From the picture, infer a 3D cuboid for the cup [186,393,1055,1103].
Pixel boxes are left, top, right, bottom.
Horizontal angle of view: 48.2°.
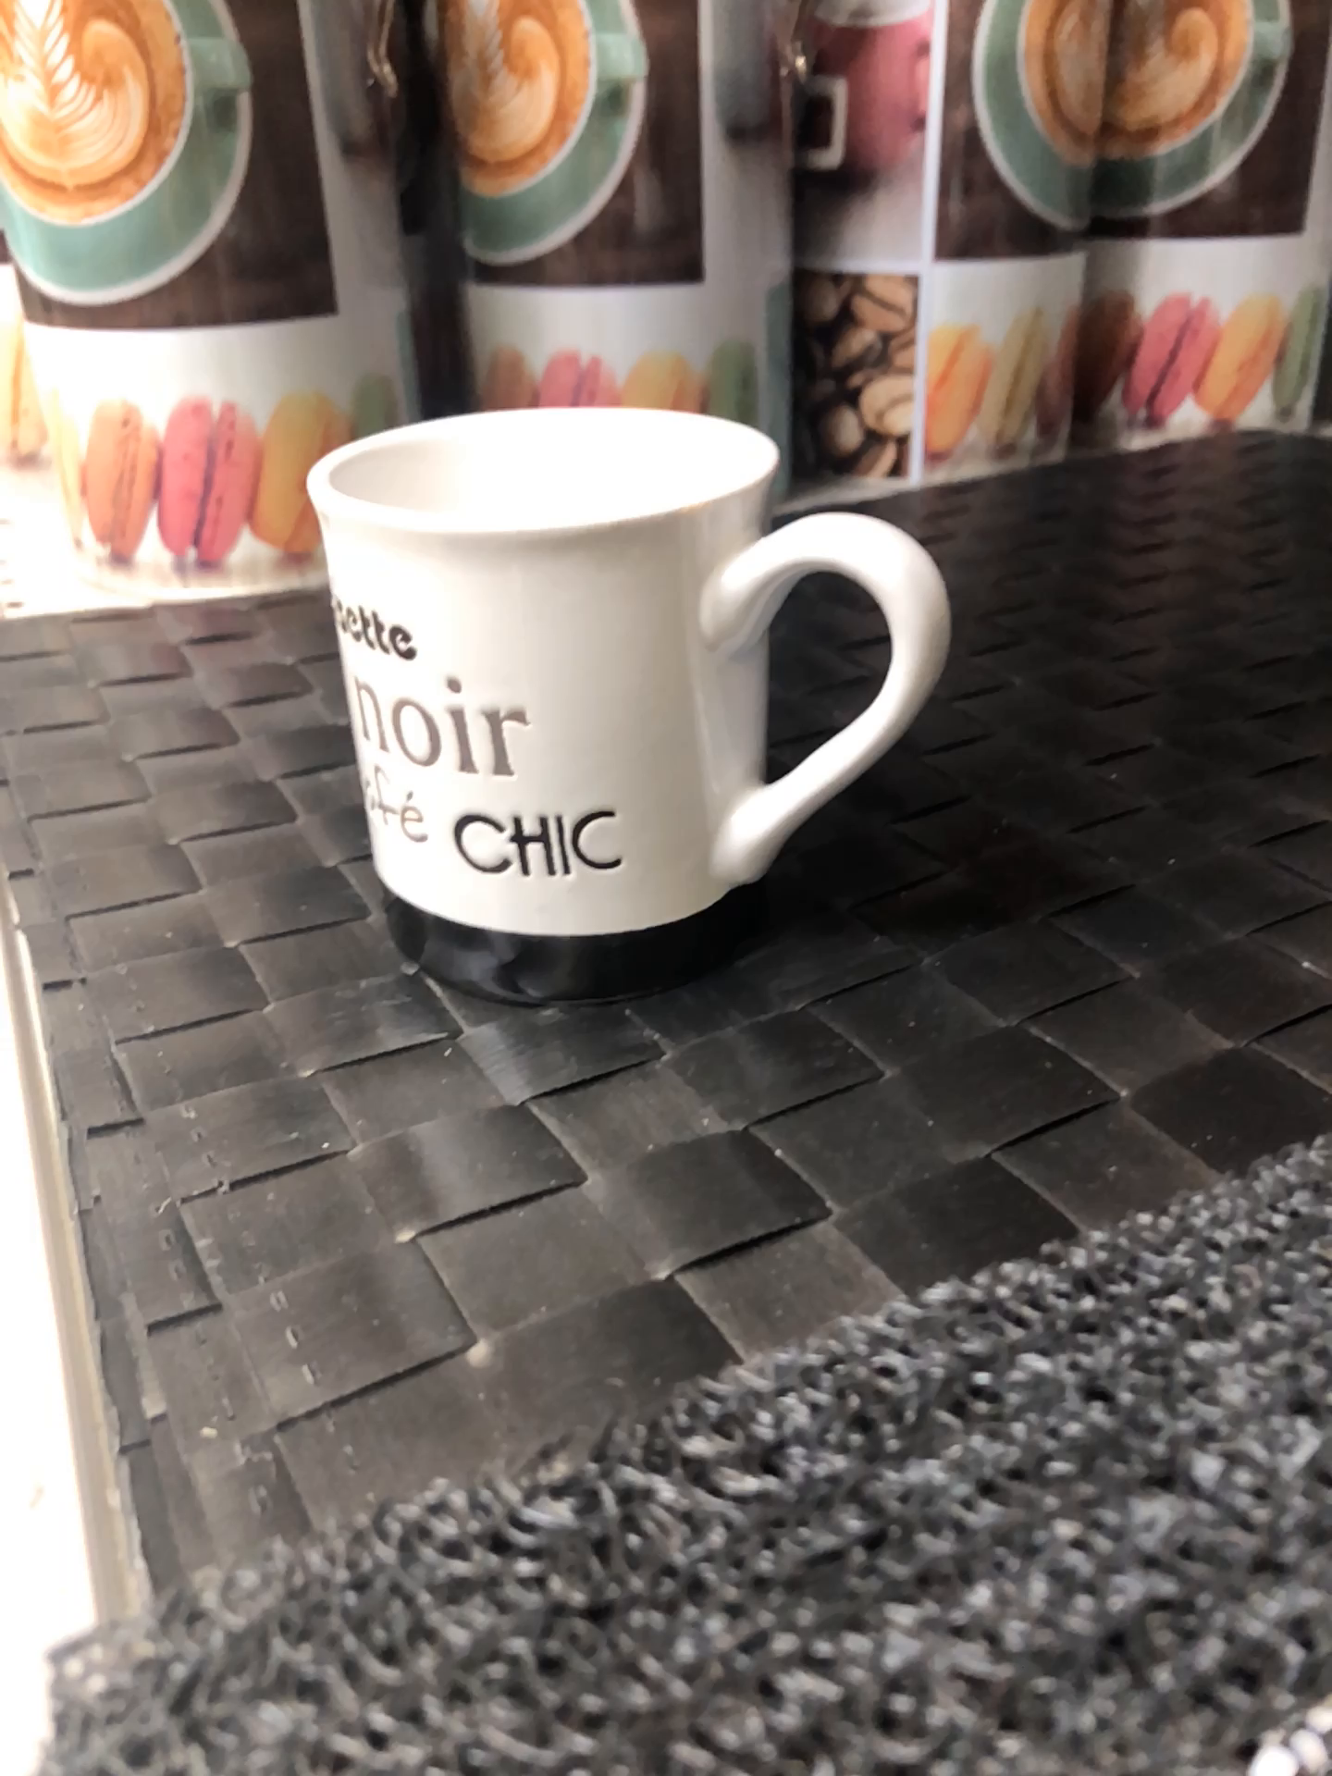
[{"bbox_3d":[-0.003,-0.027,0.210,0.092,0.066,0.068,14,32,28],"label":"cup"}]
